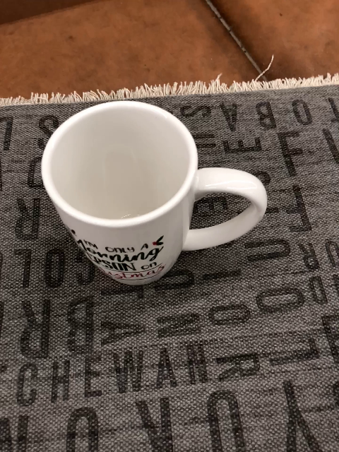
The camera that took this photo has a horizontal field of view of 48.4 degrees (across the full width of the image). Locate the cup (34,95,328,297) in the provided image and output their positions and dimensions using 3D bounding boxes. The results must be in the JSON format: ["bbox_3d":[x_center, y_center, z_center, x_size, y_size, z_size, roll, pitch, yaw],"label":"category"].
[{"bbox_3d":[0.006,-0.013,0.245,0.140,0.100,0.090,0,61,1],"label":"cup"}]
